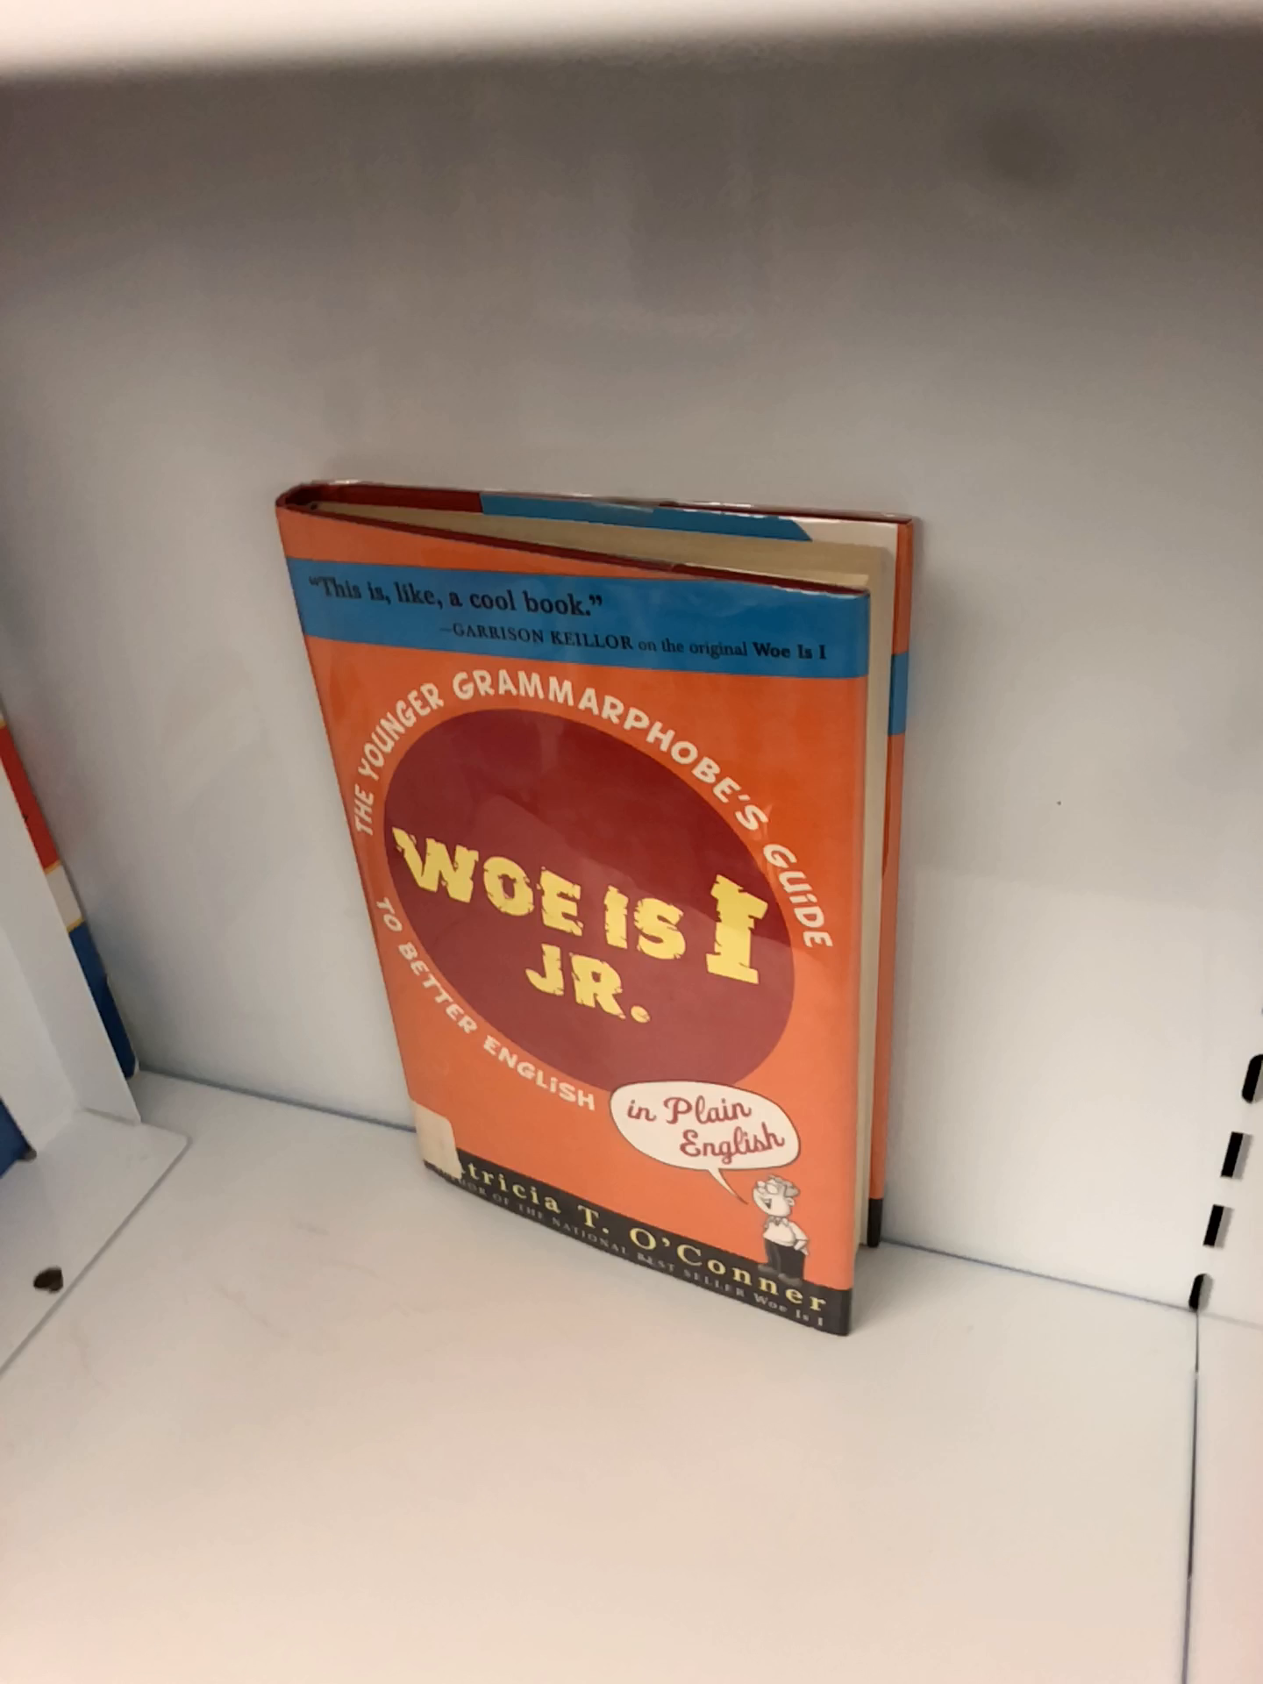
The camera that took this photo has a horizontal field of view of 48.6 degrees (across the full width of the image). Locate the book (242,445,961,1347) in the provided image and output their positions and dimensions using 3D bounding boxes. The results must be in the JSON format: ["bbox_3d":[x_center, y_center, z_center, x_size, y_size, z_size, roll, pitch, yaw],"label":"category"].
[{"bbox_3d":[-0.003,0.017,0.326,0.137,0.199,0.038,11,36,22],"label":"book"}]
